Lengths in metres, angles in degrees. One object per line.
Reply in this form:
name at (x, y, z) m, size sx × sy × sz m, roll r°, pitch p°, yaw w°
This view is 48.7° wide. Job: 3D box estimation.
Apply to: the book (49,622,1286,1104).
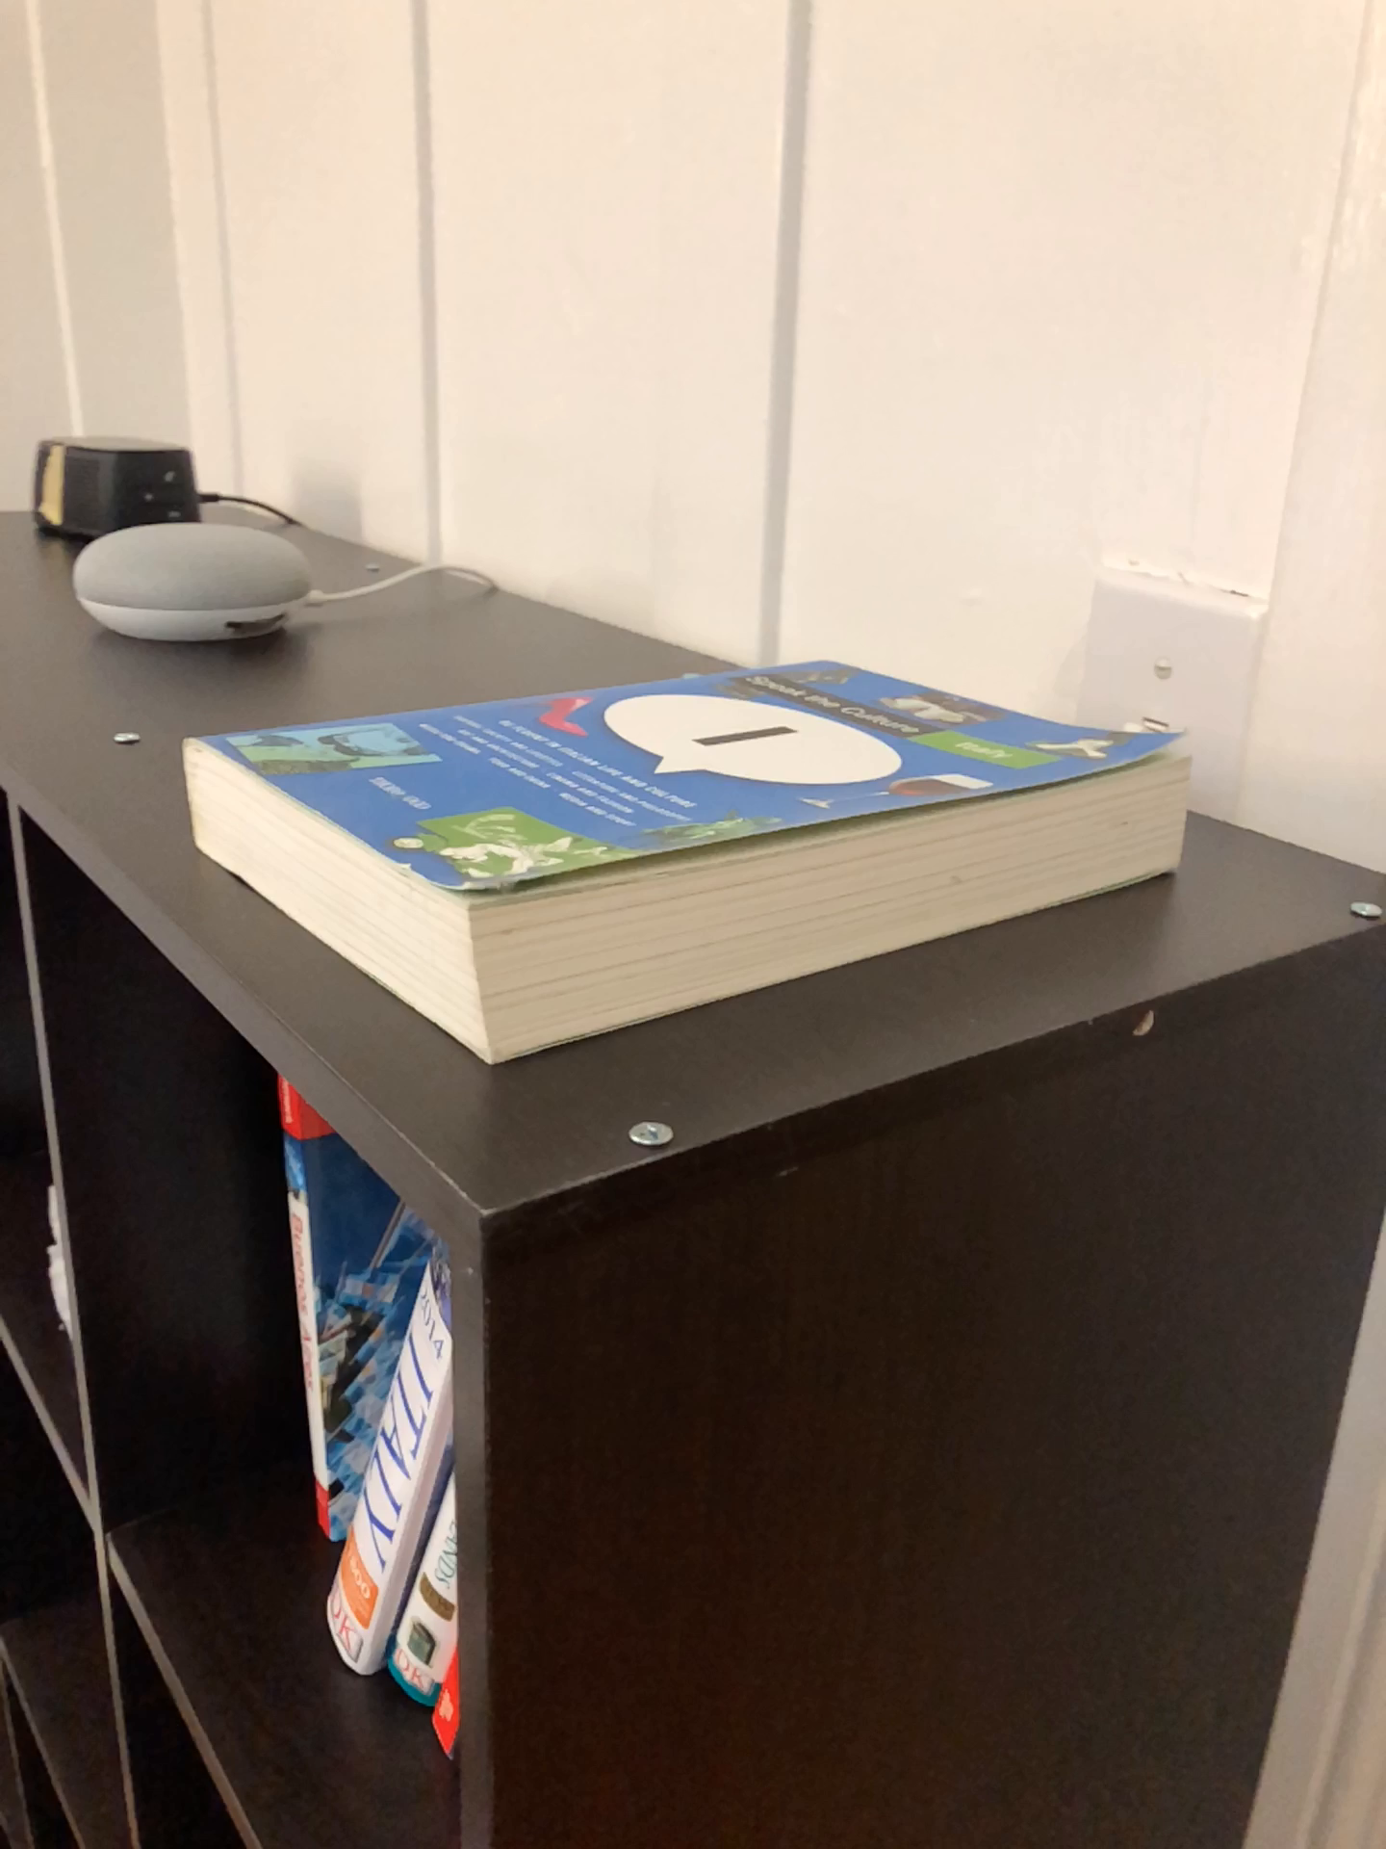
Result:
book at (-0.006, -0.039, 0.411) m, size 0.261 × 0.030 × 0.200 m, roll -14°, pitch 26°, yaw -36°
